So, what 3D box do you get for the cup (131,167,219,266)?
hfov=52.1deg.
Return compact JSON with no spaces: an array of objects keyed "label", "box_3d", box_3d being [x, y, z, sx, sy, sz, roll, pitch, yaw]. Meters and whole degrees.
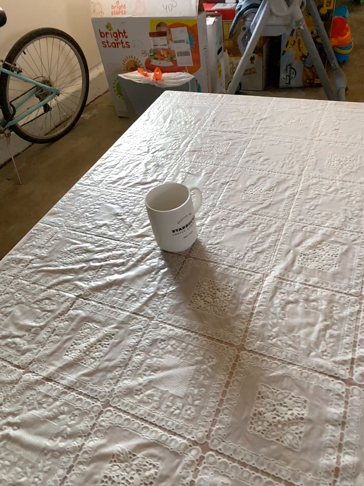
[{"label":"cup","box_3d":[-0.008,-0.053,0.708,0.090,0.110,0.130,26,57,30]}]
